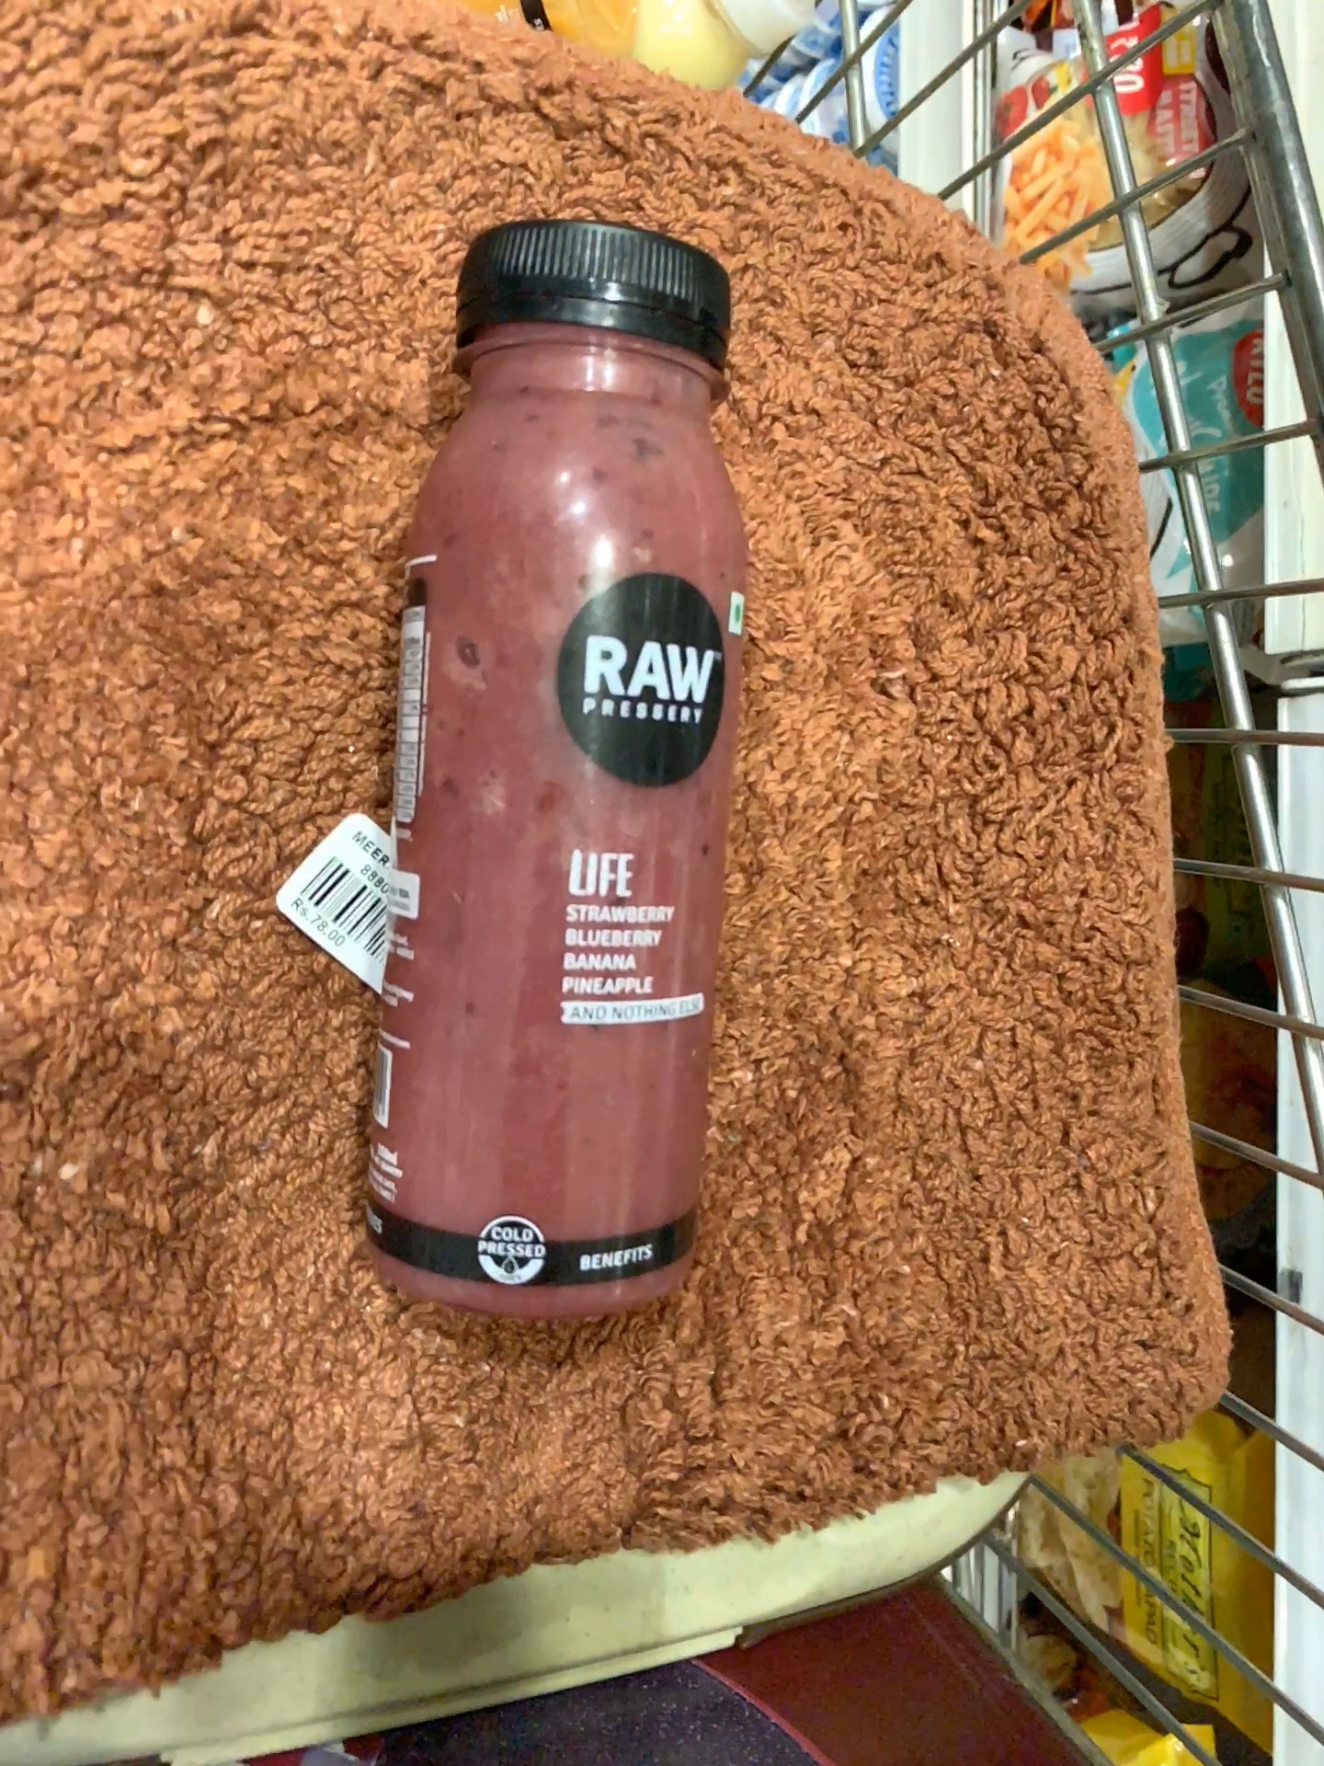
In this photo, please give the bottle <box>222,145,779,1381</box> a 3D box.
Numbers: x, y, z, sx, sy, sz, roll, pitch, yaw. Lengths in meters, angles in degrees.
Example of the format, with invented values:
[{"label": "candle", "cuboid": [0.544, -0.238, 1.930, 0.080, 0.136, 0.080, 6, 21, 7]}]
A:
[{"label": "bottle", "cuboid": [-0.026, -0.014, 0.203, 0.060, 0.050, 0.150, 1, 94, -32]}]
